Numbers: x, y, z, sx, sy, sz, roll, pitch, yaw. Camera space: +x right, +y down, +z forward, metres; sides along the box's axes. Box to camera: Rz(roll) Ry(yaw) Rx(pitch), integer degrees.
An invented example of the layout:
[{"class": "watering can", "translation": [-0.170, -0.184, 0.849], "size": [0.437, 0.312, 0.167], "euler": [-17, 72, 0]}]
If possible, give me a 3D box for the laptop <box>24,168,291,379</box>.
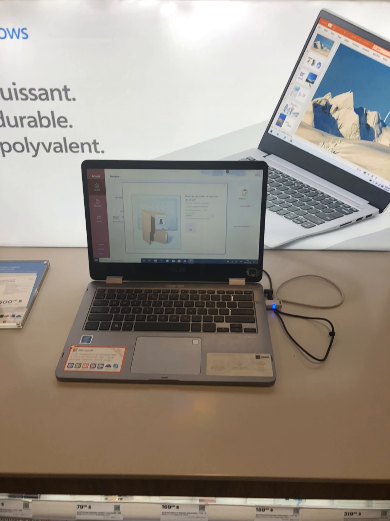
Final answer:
[{"class": "laptop", "translation": [-0.039, 0.007, 0.673], "size": [0.311, 0.214, 0.274], "euler": [1, 34, 2]}]
